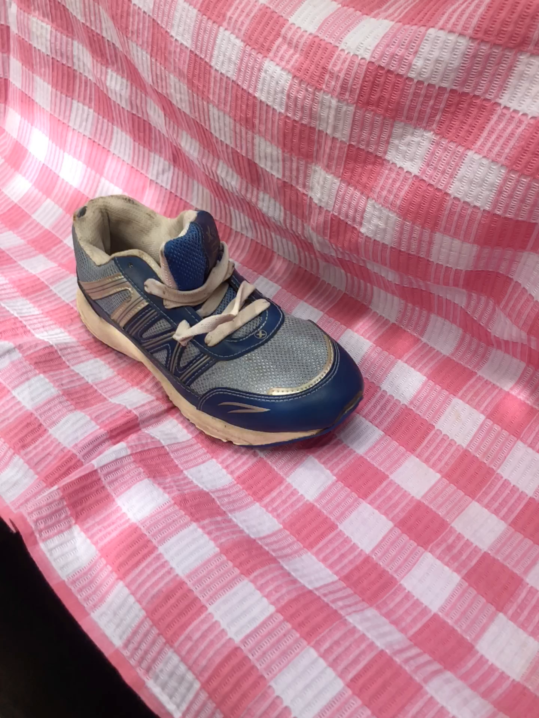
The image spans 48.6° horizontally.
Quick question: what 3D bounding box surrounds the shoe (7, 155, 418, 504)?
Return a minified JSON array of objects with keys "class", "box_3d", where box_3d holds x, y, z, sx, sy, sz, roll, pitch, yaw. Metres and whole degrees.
[{"class":"shoe","box_3d":[-0.052,-0.041,0.429,0.280,0.099,0.110,32,50,30]}]
